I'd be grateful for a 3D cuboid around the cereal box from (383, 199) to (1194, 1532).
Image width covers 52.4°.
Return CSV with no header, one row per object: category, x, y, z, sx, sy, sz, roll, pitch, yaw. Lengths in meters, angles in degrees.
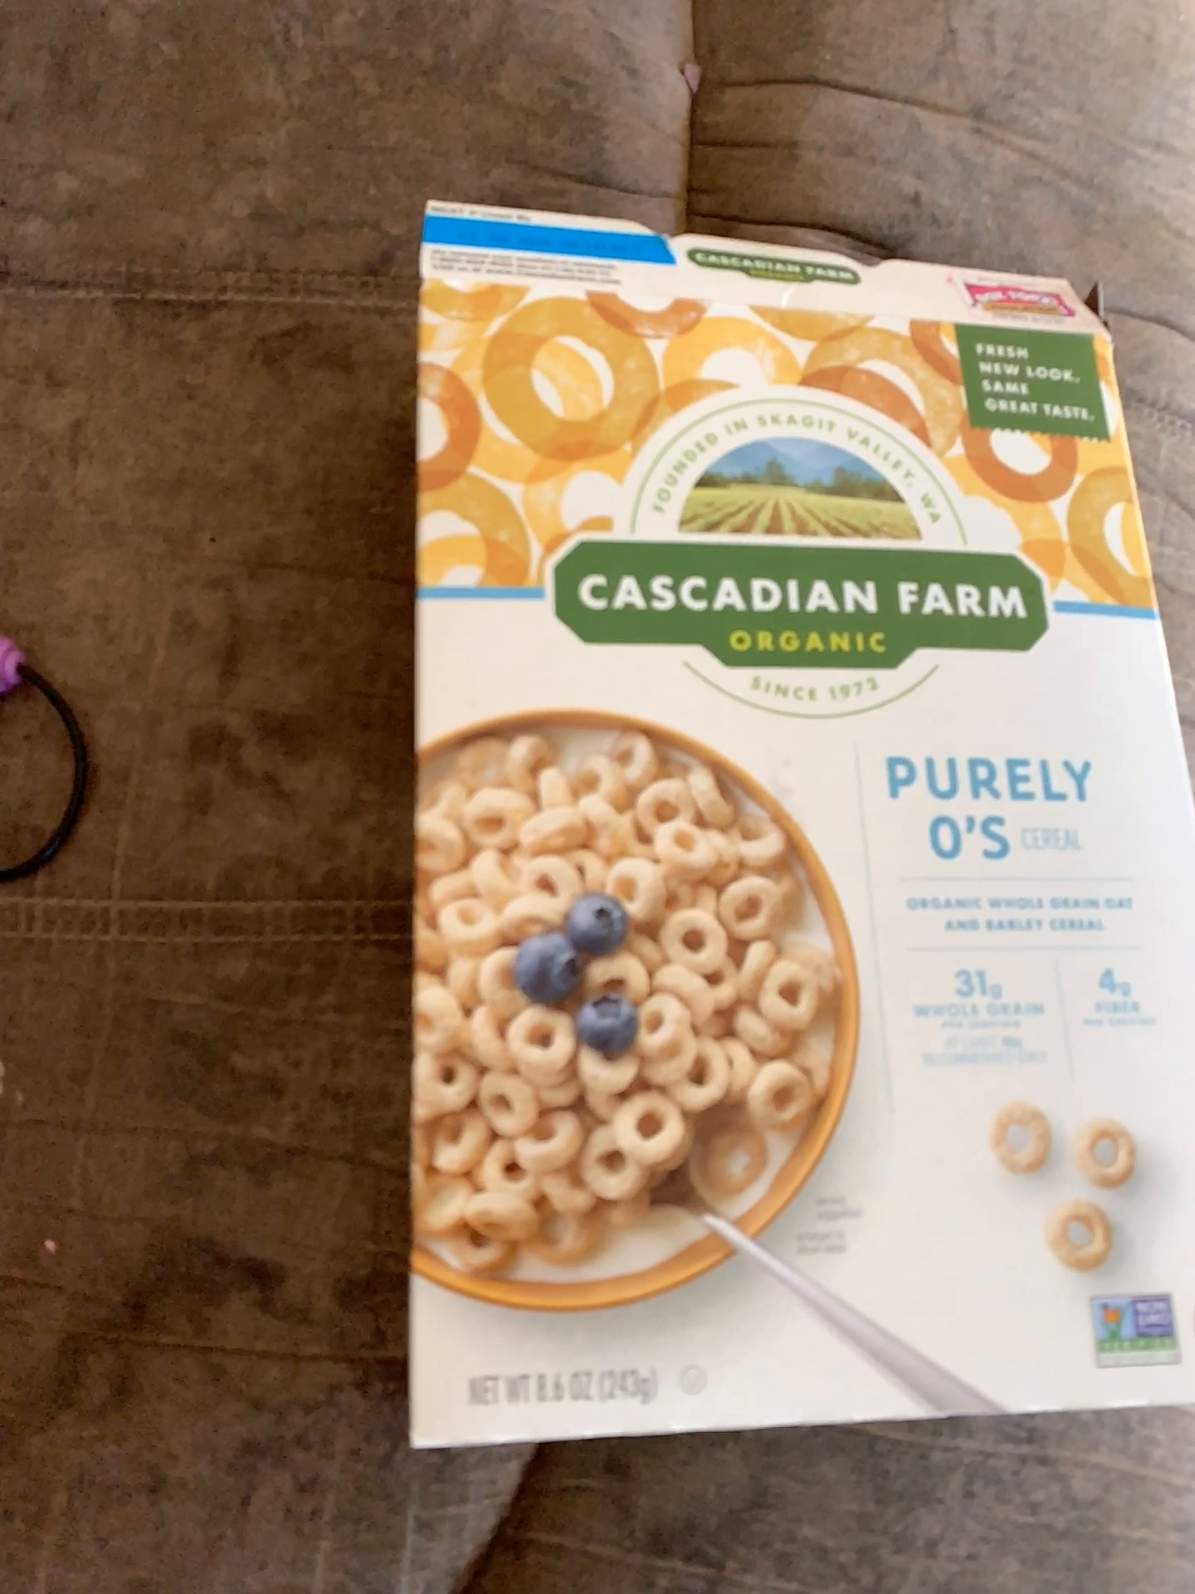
cereal box,0.055,0.001,0.292,0.200,0.070,0.280,1,70,-8
